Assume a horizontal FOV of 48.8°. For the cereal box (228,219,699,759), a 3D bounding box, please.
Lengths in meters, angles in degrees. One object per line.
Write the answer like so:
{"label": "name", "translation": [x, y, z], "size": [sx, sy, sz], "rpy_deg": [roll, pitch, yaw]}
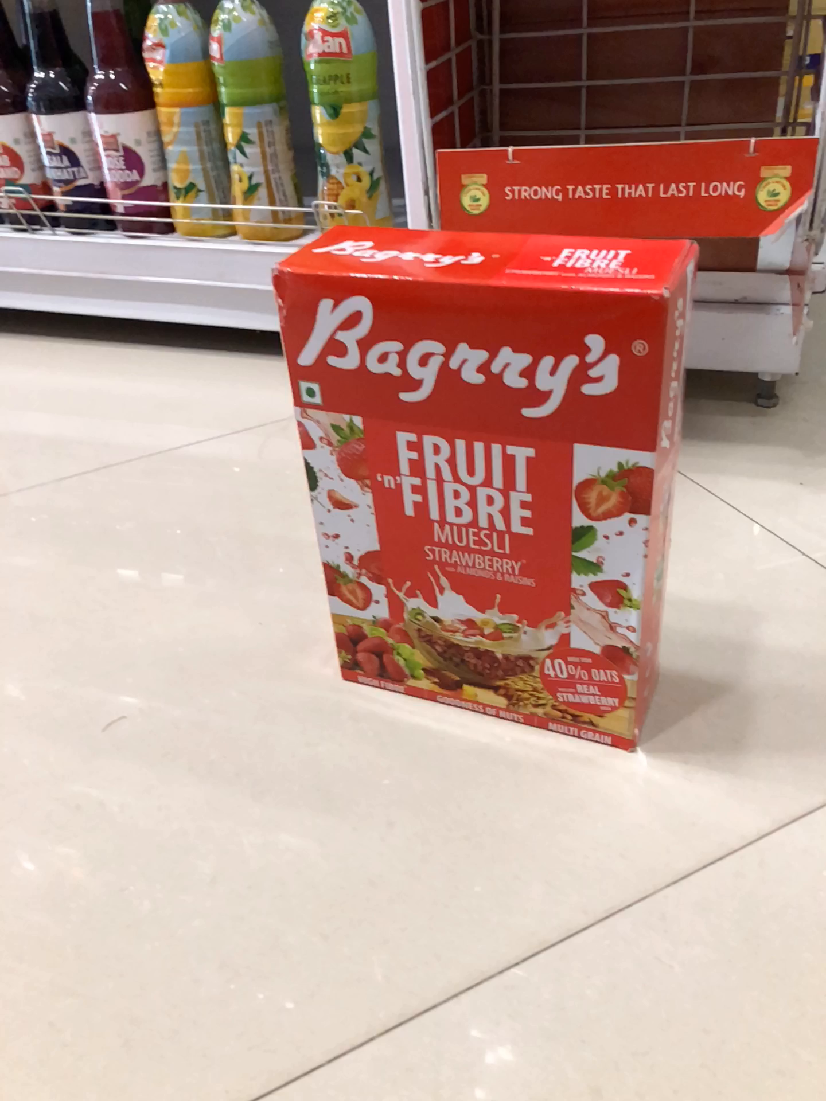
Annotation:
{"label": "cereal box", "translation": [0.030, -0.030, 0.482], "size": [0.200, 0.258, 0.070], "rpy_deg": [10, 37, 21]}
